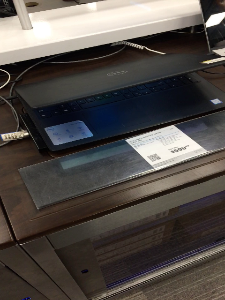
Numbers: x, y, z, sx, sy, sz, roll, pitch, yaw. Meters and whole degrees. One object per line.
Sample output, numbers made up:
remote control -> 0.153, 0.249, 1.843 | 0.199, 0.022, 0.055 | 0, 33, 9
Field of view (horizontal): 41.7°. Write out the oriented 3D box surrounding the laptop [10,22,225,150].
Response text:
laptop -> 0.030, -0.149, 0.634 | 0.418, 0.082, 0.211 | -17, 52, -9
